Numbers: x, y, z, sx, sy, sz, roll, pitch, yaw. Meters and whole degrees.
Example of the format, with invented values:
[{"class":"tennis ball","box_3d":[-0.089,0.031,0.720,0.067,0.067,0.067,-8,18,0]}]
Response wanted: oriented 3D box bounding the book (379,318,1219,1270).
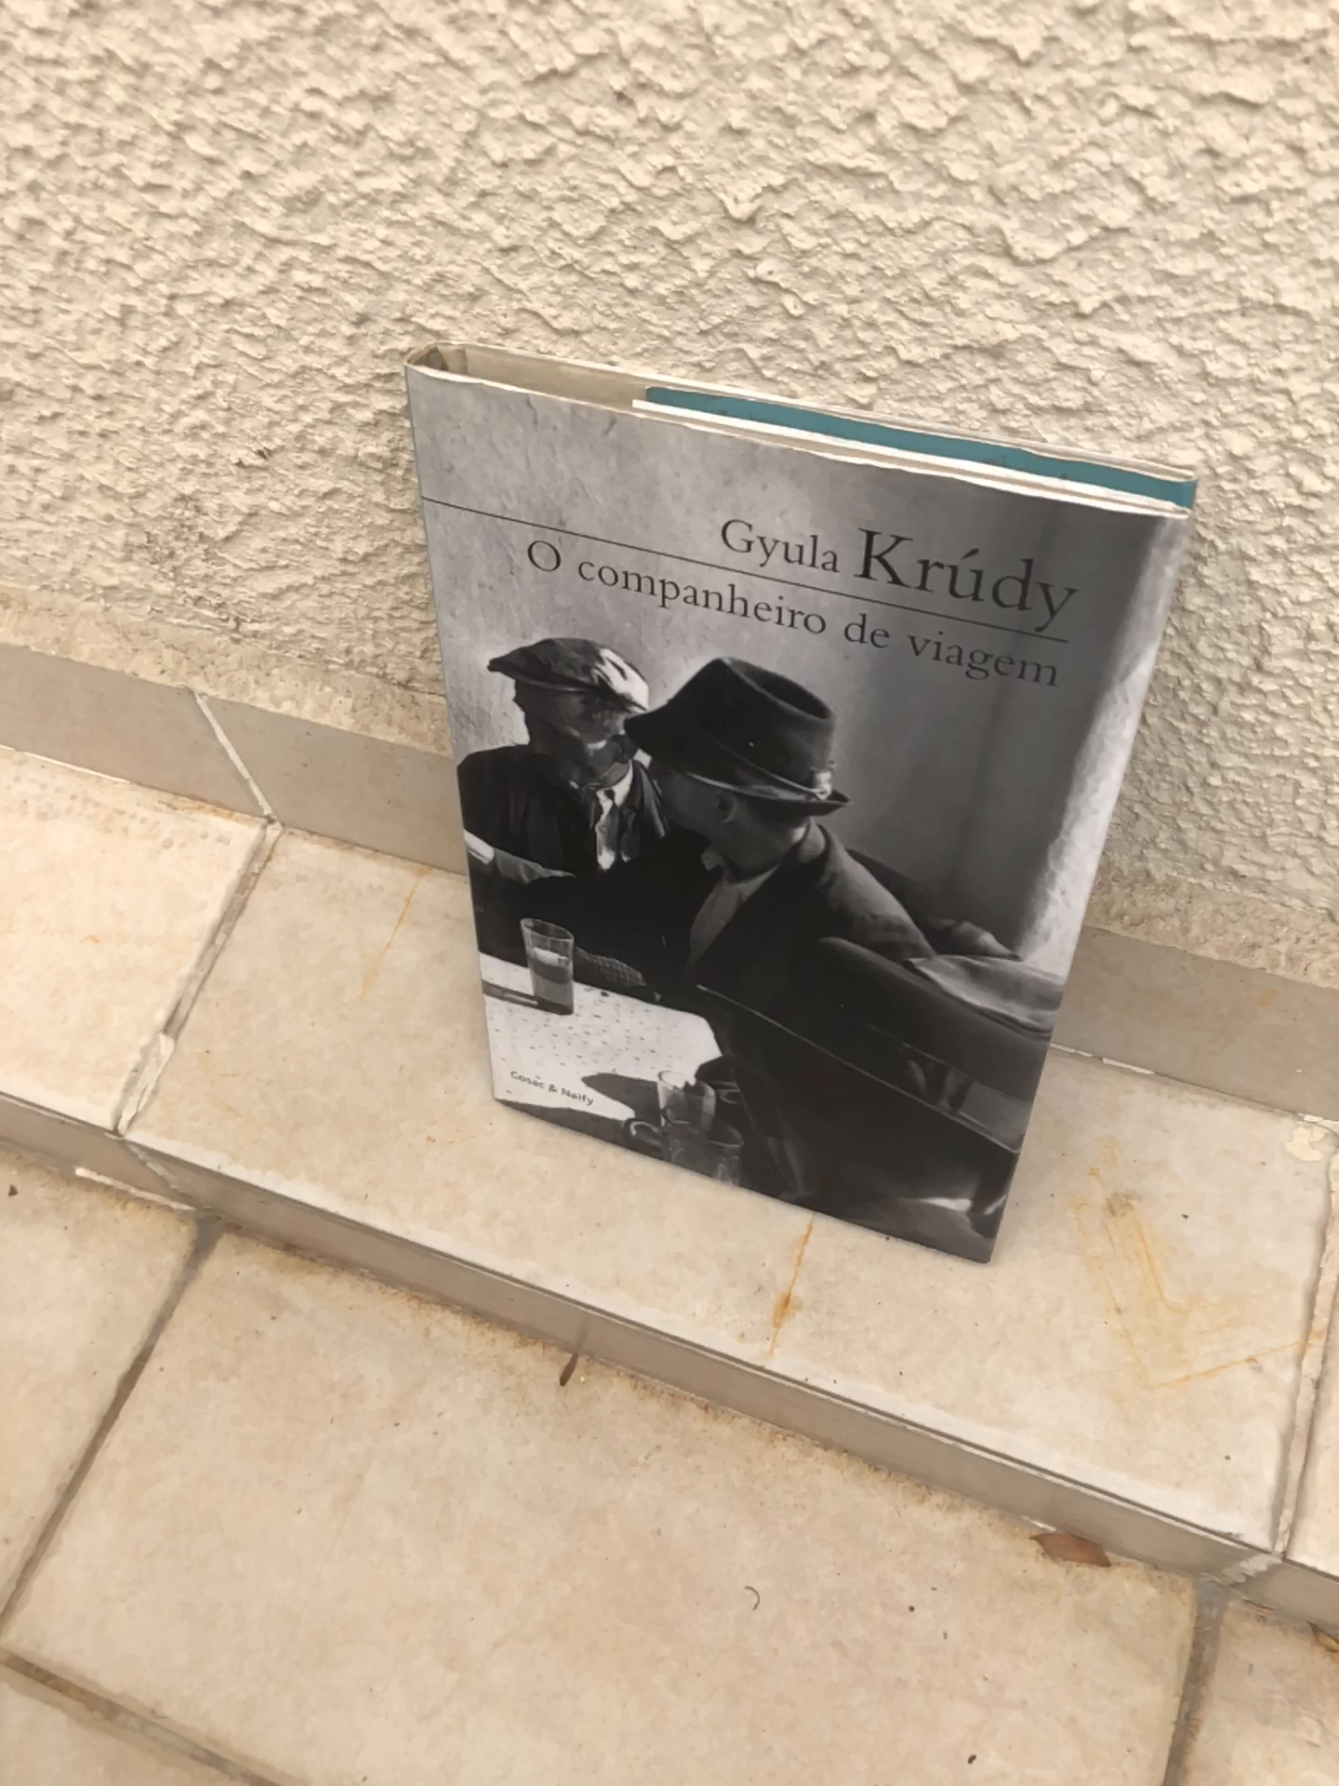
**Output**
[{"class":"book","box_3d":[0.017,-0.005,0.312,0.137,0.205,0.019,16,46,14]}]
